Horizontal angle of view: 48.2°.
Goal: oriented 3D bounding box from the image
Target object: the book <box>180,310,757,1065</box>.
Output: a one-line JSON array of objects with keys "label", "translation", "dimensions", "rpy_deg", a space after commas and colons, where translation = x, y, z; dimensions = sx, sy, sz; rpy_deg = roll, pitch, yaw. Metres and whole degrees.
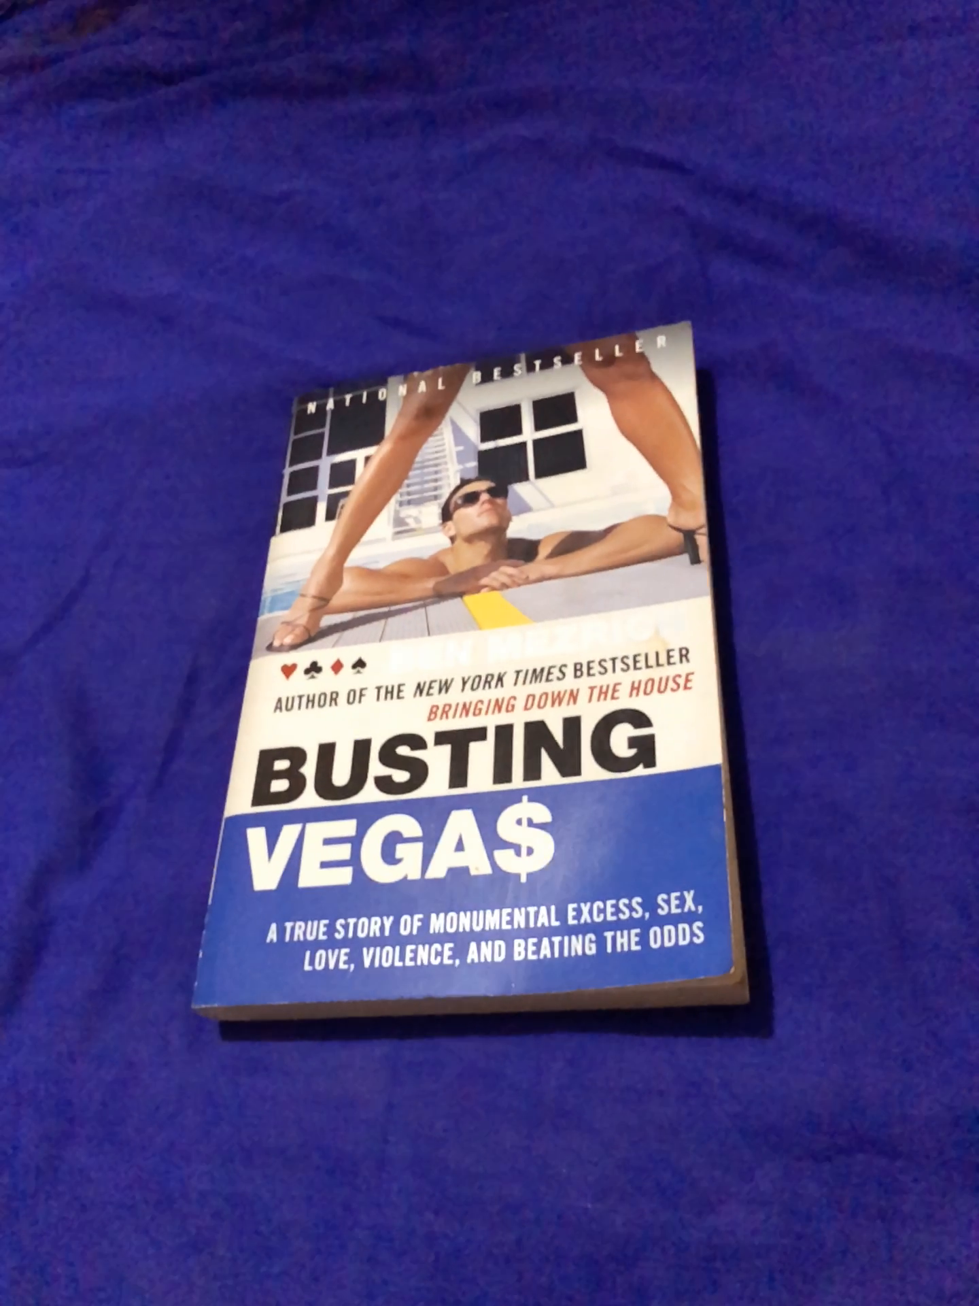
[{"label": "book", "translation": [-0.001, 0.002, 0.313], "dimensions": [0.130, 0.040, 0.210], "rpy_deg": [-7, 57, 15]}]
